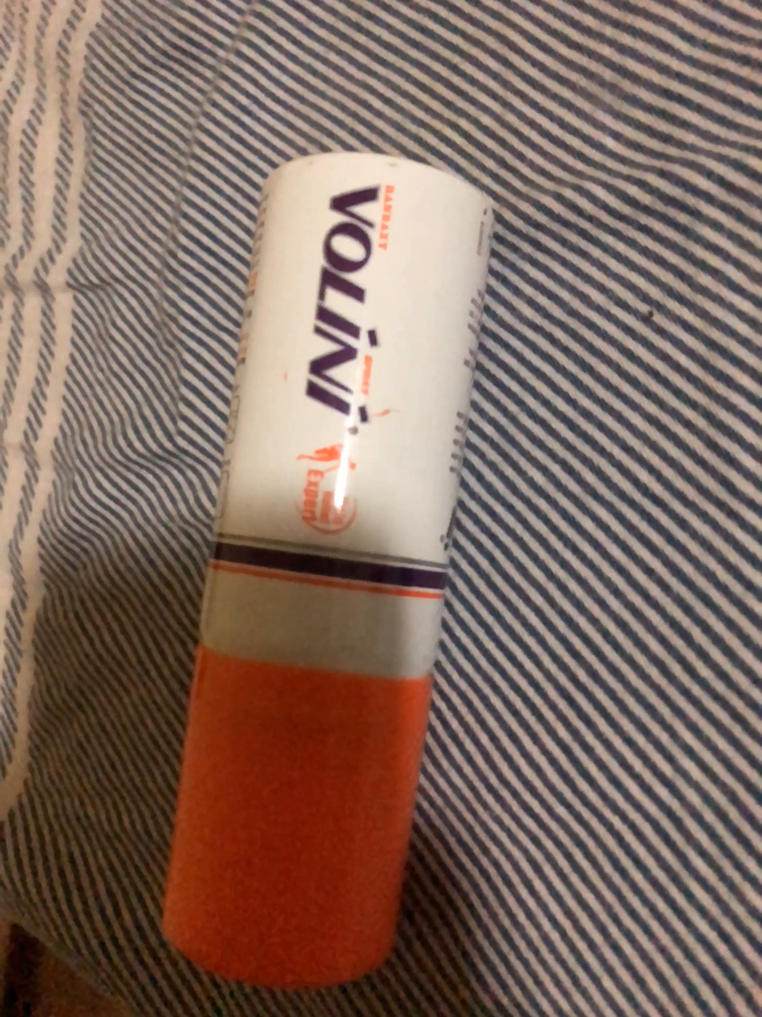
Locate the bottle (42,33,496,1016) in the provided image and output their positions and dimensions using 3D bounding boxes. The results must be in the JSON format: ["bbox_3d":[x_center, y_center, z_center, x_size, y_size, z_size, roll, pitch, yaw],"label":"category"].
[{"bbox_3d":[-0.012,0.002,0.127,0.040,0.040,0.120,7,86,4],"label":"bottle"}]
